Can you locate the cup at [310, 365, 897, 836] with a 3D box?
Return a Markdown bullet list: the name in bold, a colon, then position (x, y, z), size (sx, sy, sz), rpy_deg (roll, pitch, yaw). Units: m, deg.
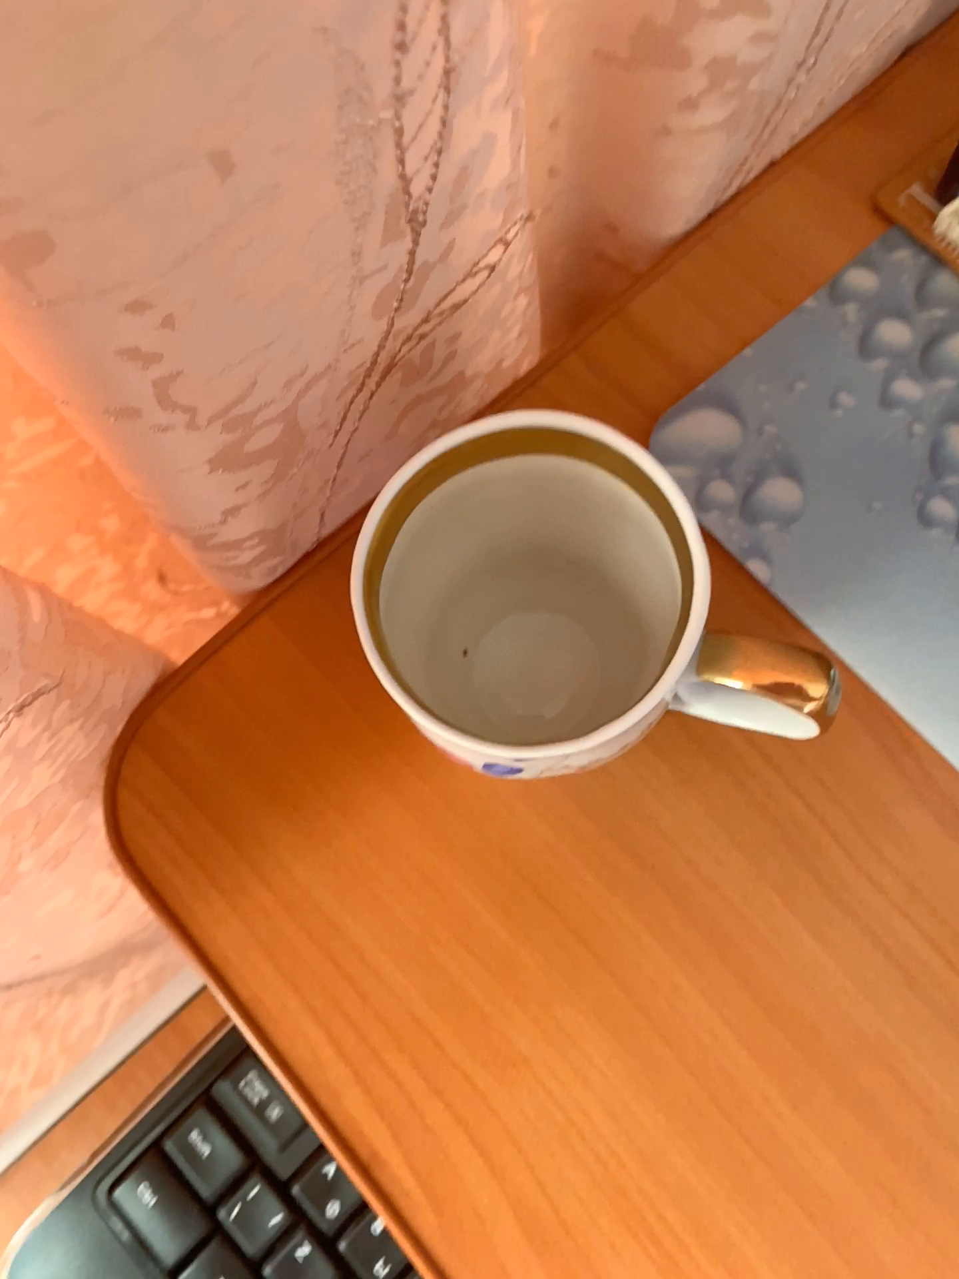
- **cup**: position (0.023, -0.004, 0.183), size (0.082, 0.055, 0.059), rpy_deg (10, 75, 9)
